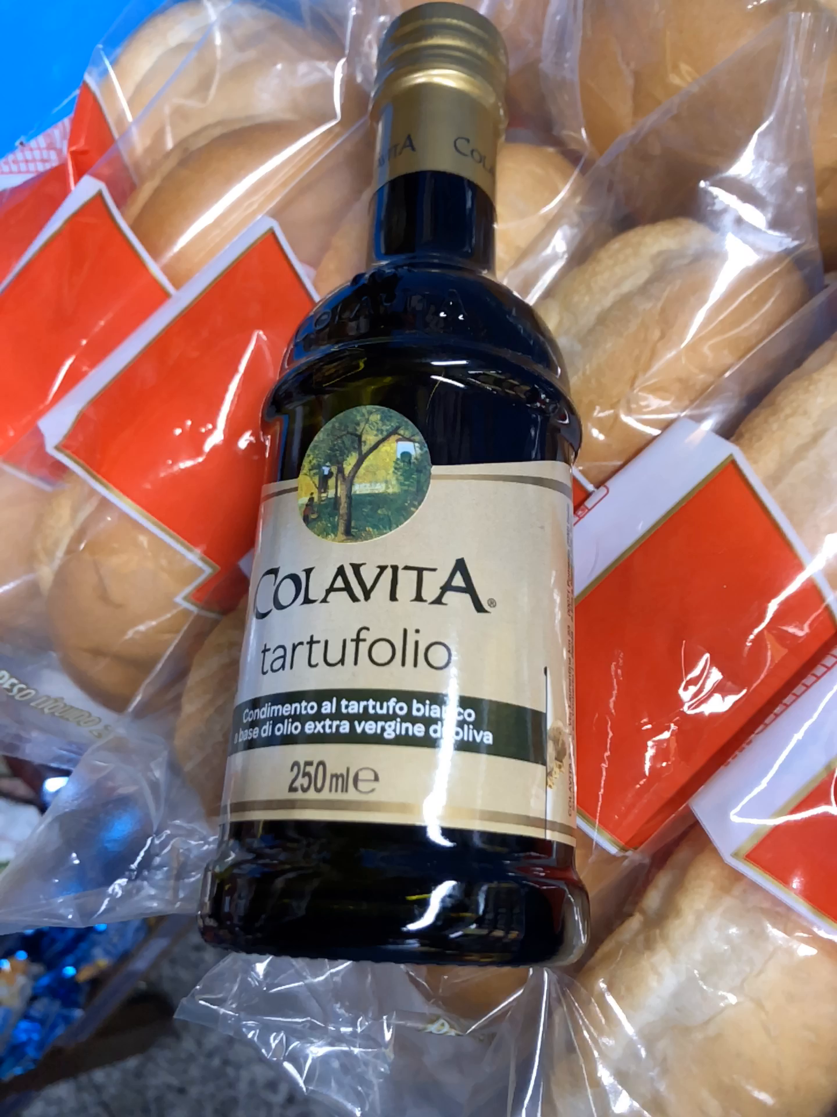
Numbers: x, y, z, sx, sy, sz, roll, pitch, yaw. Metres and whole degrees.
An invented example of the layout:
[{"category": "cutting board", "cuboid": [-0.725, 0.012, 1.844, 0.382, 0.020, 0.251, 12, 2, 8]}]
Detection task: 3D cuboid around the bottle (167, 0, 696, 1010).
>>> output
[{"category": "bottle", "cuboid": [0.007, -0.034, 0.185, 0.070, 0.060, 0.210, -6, 71, 19]}]
